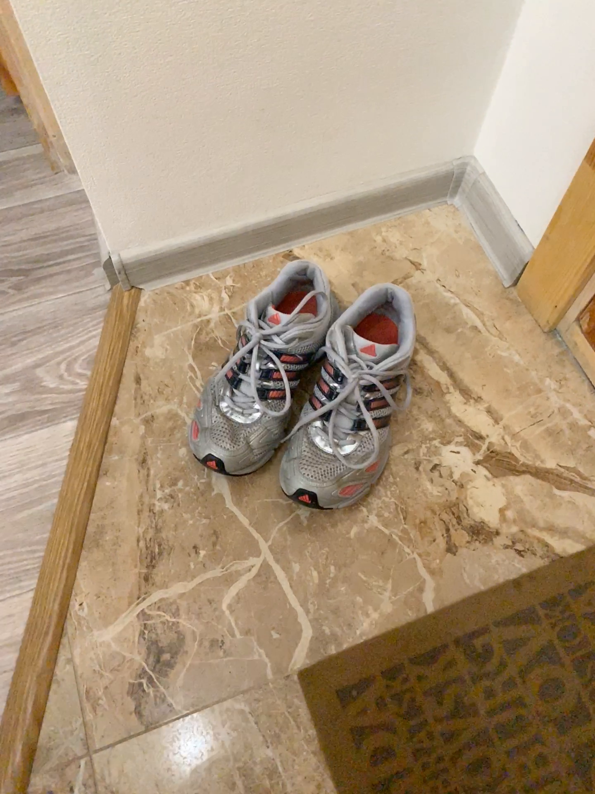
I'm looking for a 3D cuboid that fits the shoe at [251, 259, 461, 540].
[{"bbox_3d":[0.060,-0.002,0.602,0.110,0.090,0.240,22,65,10],"label":"shoe"}]

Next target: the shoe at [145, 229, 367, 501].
[{"bbox_3d":[-0.032,-0.037,0.616,0.110,0.090,0.240,24,65,11],"label":"shoe"}]
